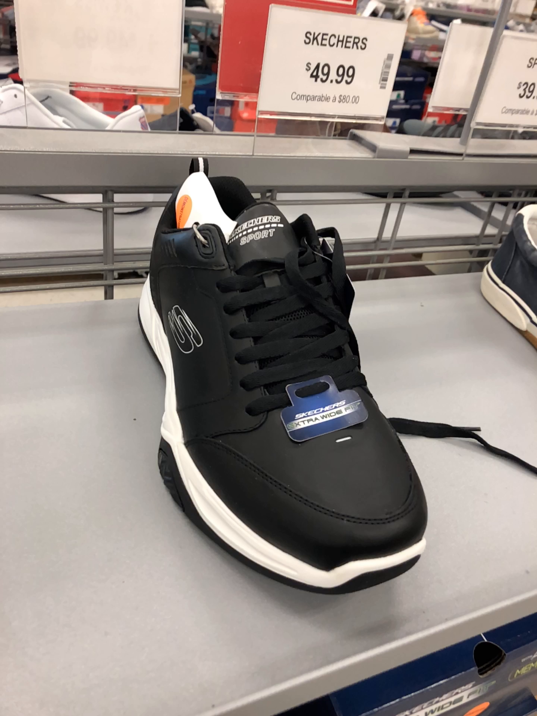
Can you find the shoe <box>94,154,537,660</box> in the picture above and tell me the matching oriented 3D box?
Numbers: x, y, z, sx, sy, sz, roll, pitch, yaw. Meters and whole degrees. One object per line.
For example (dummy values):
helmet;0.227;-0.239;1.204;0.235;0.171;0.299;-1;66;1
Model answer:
shoe;-0.017;-0.019;0.384;0.130;0.109;0.352;-6;38;-23
